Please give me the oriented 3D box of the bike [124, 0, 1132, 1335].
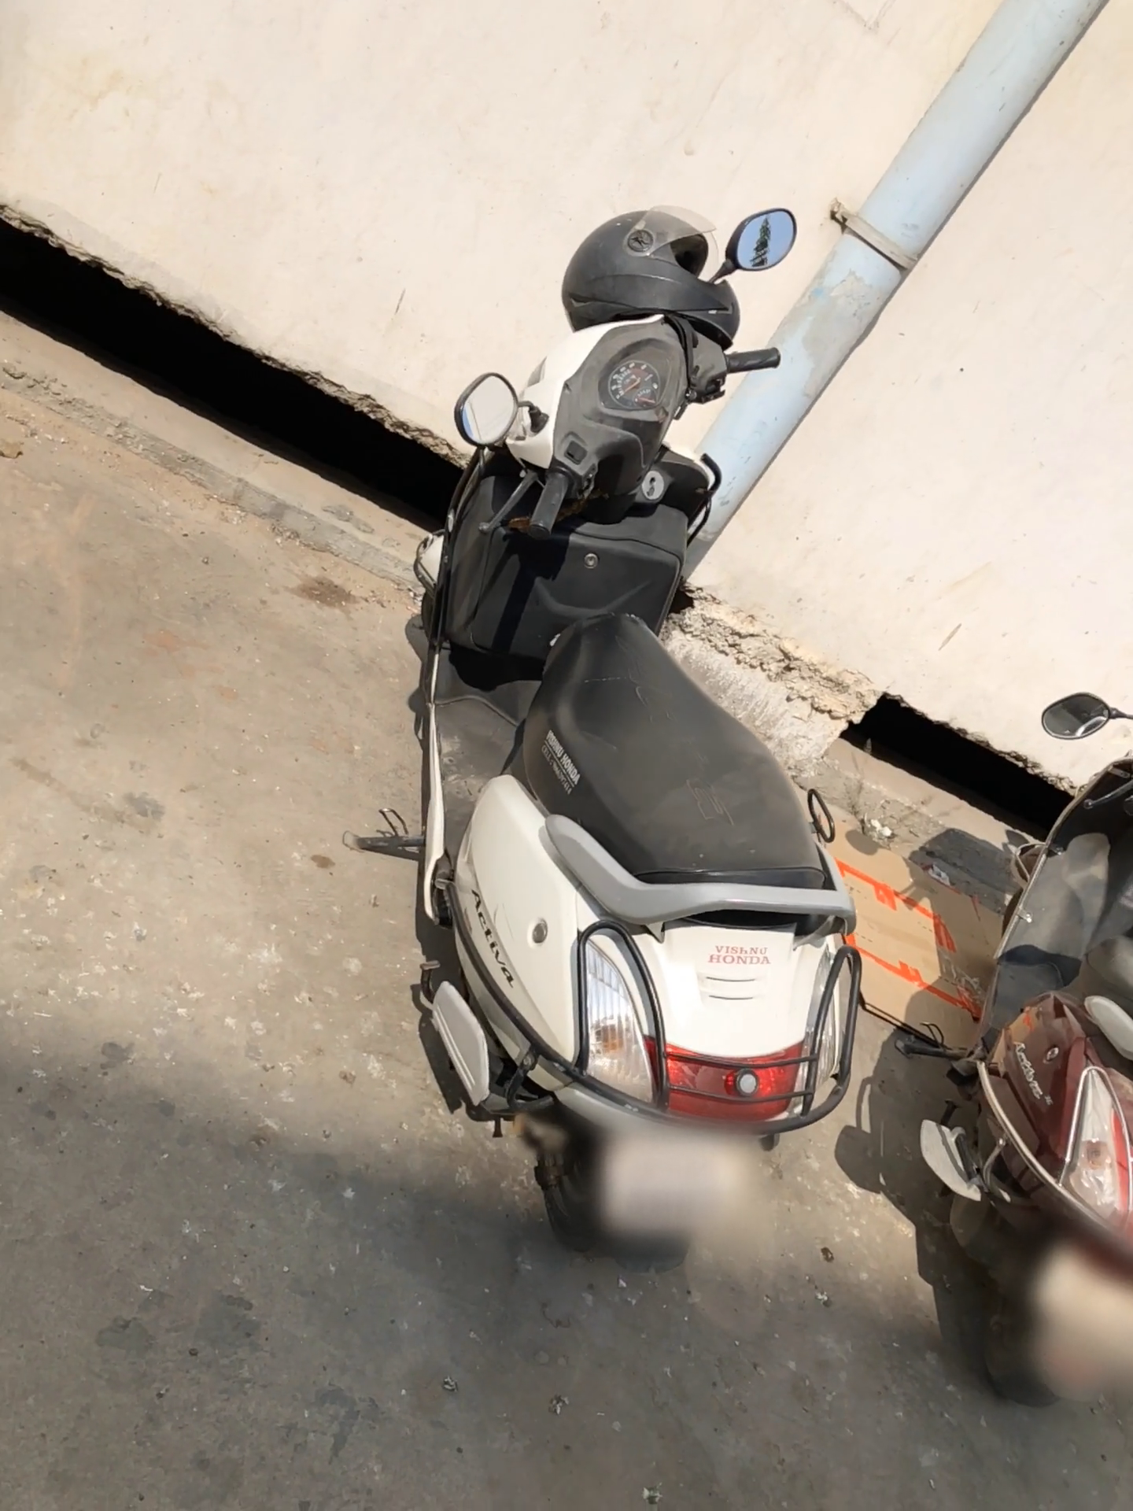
[{"bbox_3d":[-0.060,-0.115,1.837,0.626,1.123,1.304,12,40,-37],"label":"bike"}]
